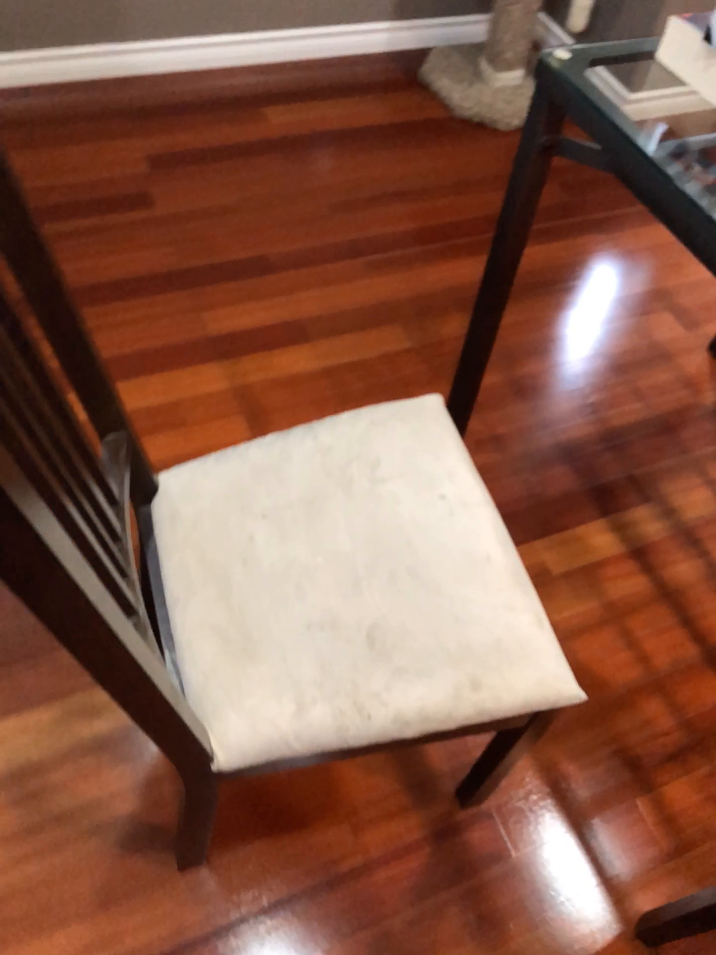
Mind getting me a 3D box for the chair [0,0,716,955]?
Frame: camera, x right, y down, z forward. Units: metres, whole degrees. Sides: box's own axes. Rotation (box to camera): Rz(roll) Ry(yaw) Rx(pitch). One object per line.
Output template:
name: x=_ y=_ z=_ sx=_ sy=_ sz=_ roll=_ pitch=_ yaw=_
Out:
chair: x=-0.041 y=0.104 z=0.848 sx=0.510 sy=1.054 sz=0.493 roll=-10 pitch=56 yaw=-14
